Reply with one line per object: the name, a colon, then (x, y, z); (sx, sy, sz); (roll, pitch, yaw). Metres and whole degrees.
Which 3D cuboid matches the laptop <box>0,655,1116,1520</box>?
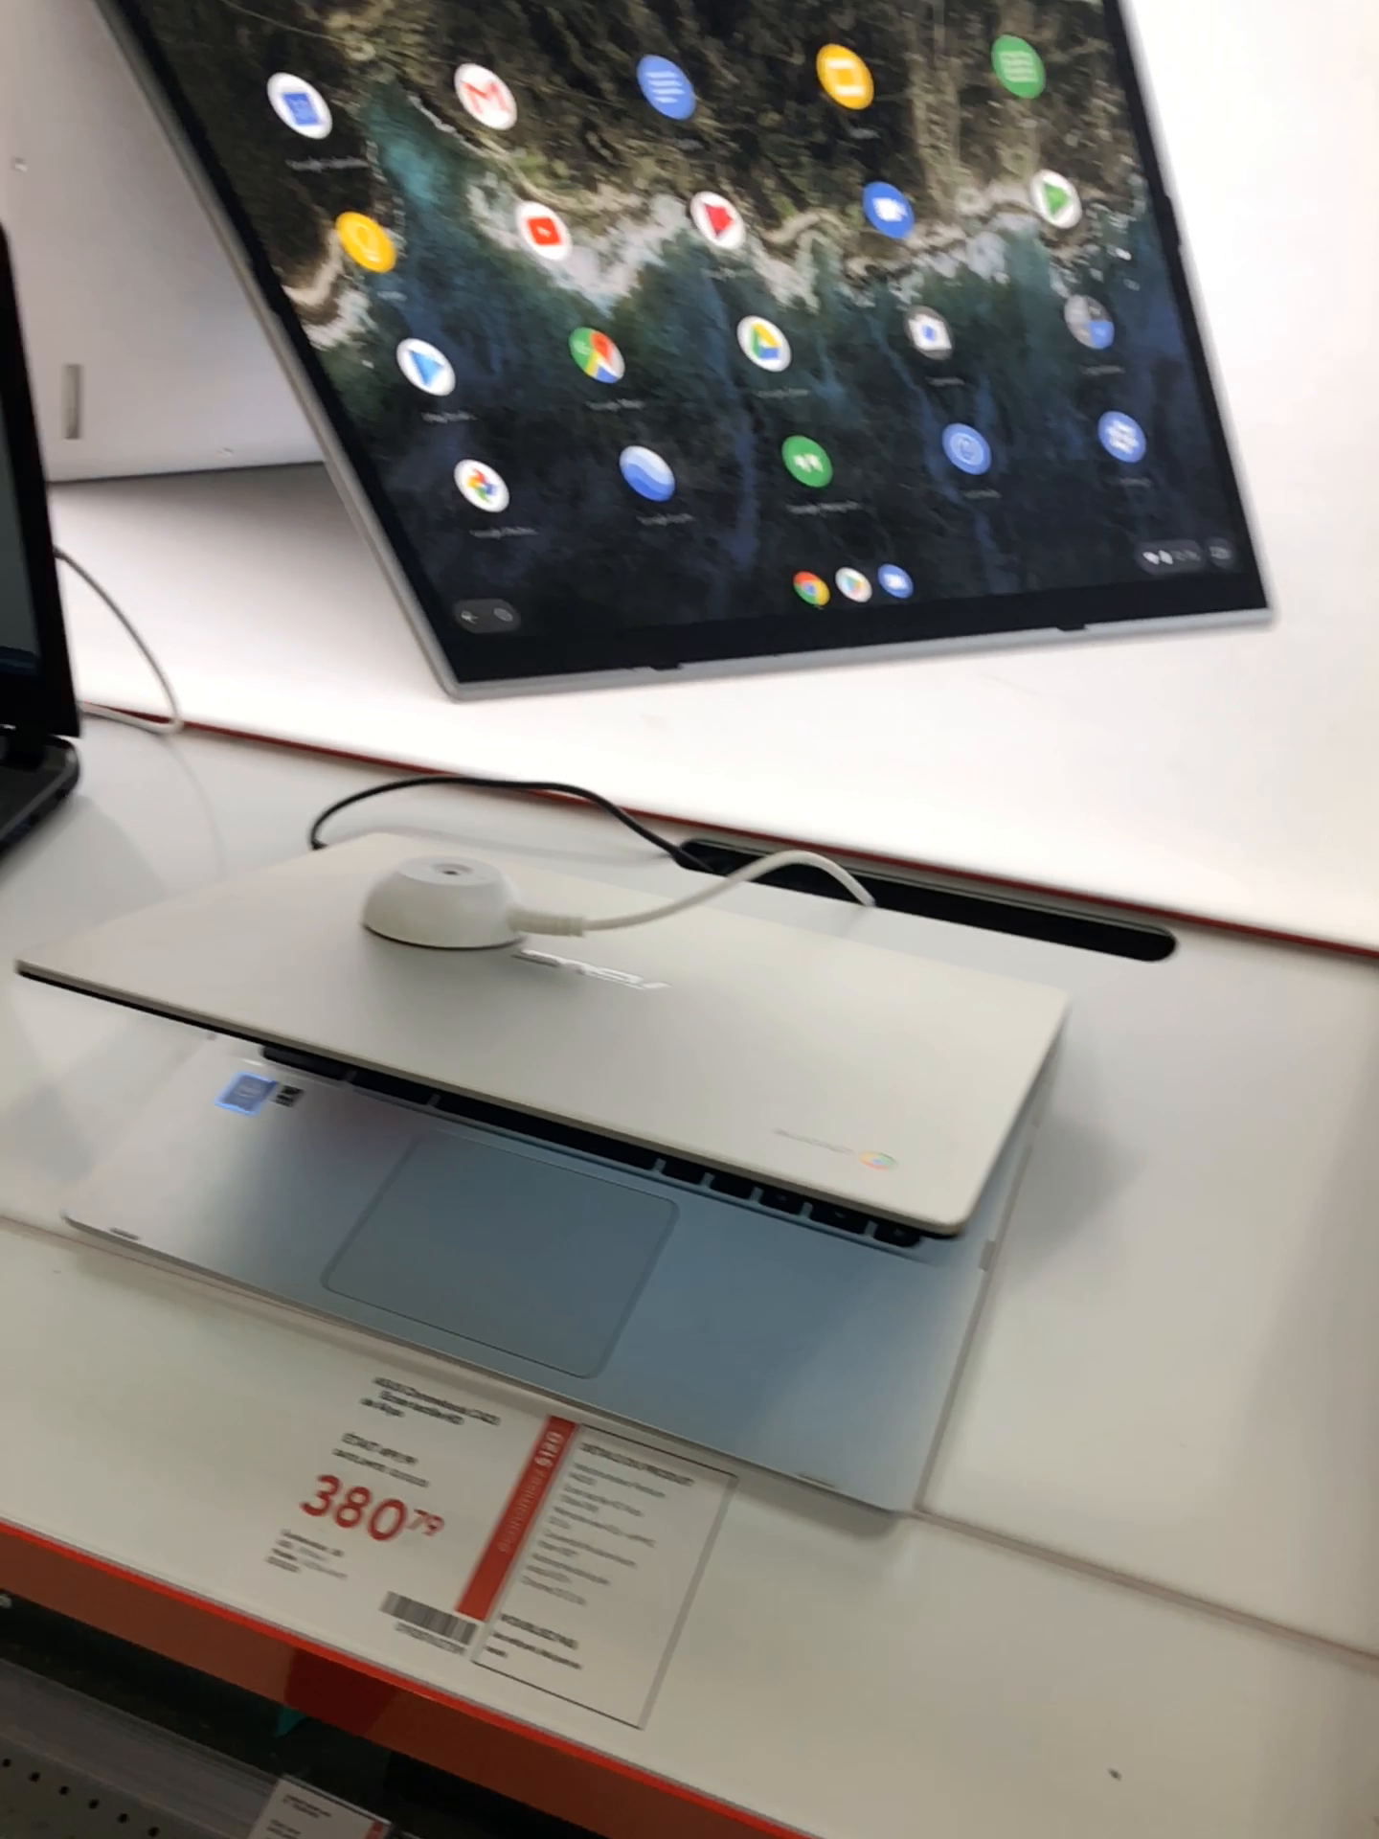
laptop: (-0.040, 0.032, 0.532); (0.317, 0.100, 0.226); (13, 43, 19)
